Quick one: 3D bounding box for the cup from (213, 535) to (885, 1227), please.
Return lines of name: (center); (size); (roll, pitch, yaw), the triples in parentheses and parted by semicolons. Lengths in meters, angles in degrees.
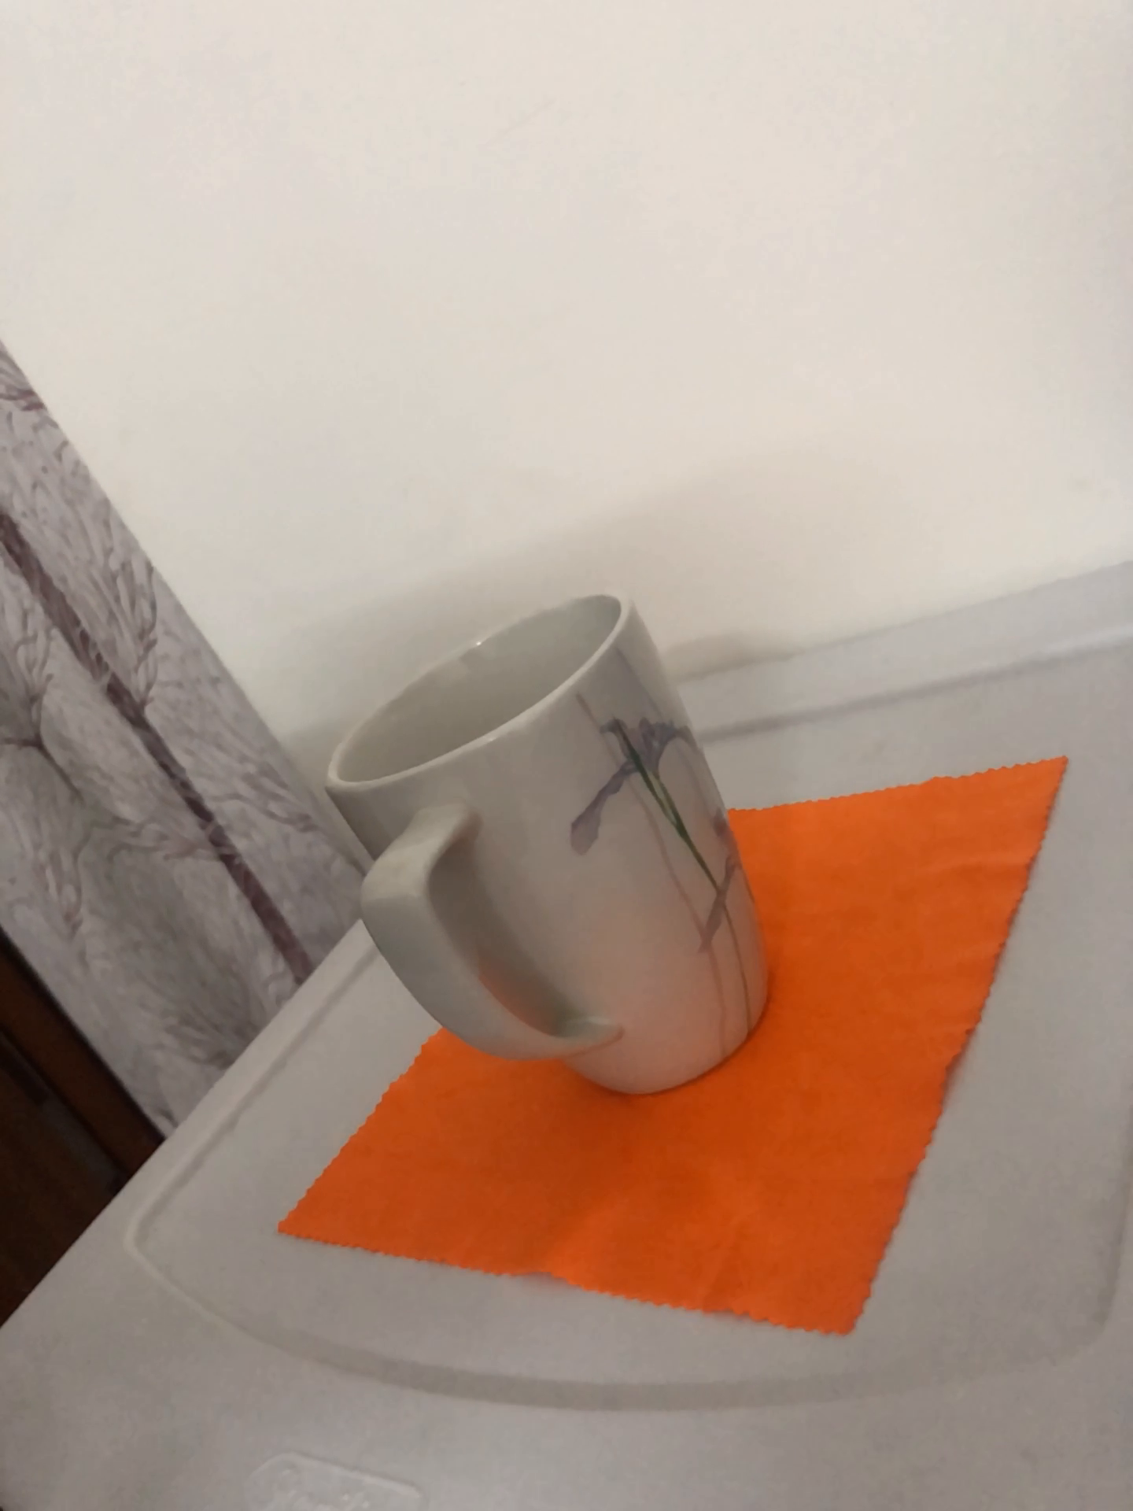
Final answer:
cup: (0.006, 0.029, 0.307); (0.090, 0.100, 0.120); (-17, 24, 33)
